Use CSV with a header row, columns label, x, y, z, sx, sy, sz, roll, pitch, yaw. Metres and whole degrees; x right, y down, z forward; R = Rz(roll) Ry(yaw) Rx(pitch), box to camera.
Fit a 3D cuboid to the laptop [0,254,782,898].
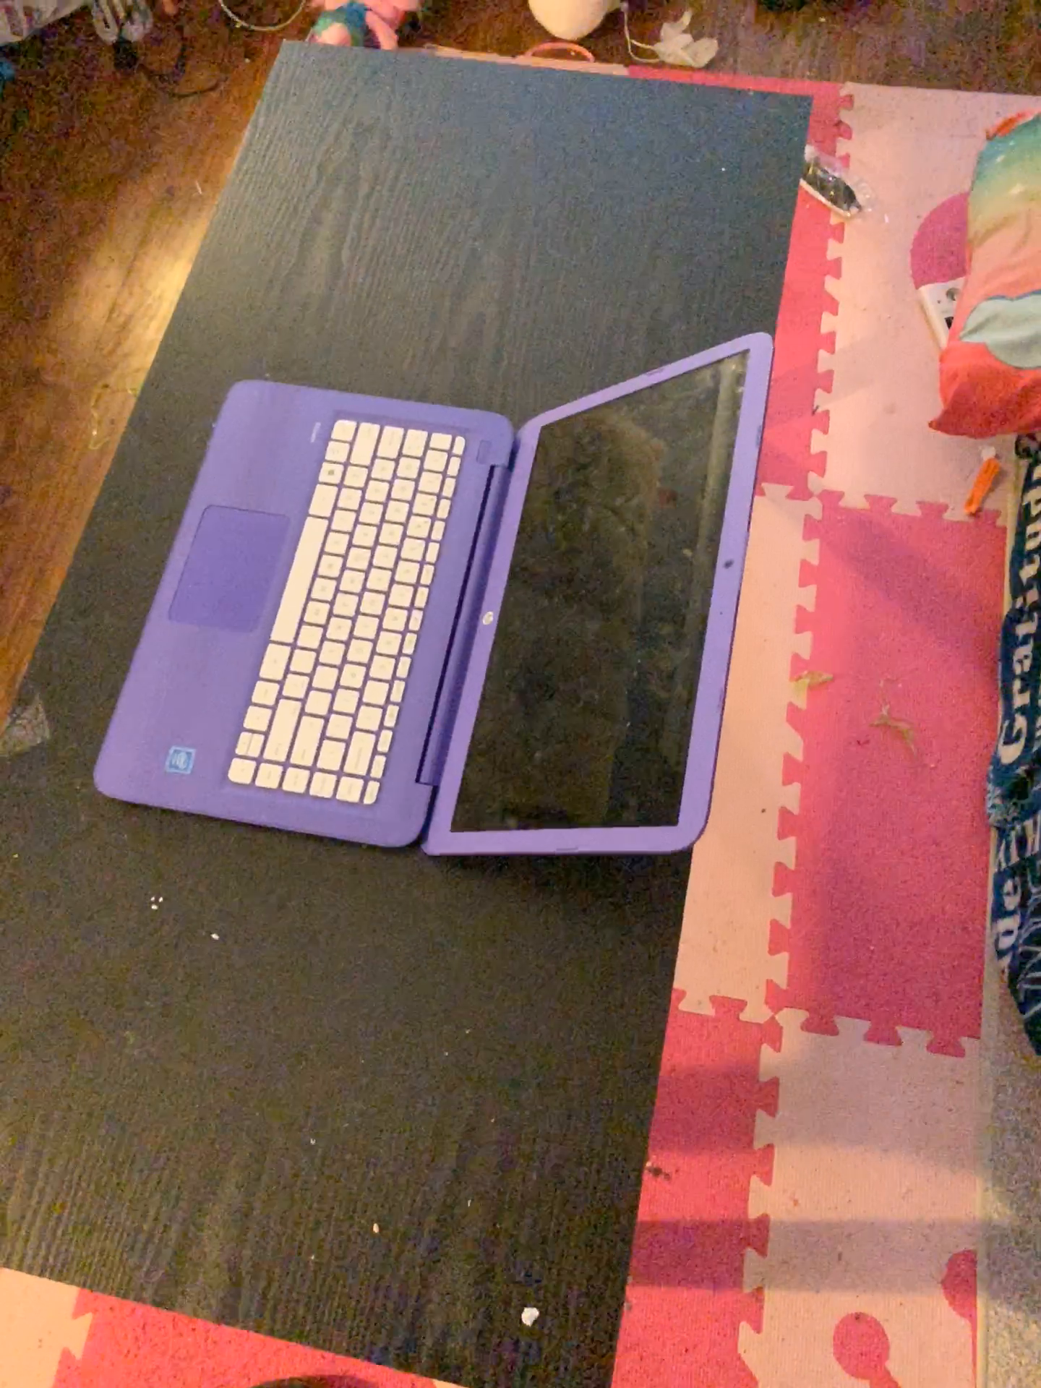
label,x,y,z,sx,sy,sz,roll,pitch,yaw
laptop,-0.062,-0.083,0.689,0.397,0.132,0.340,9,69,7
